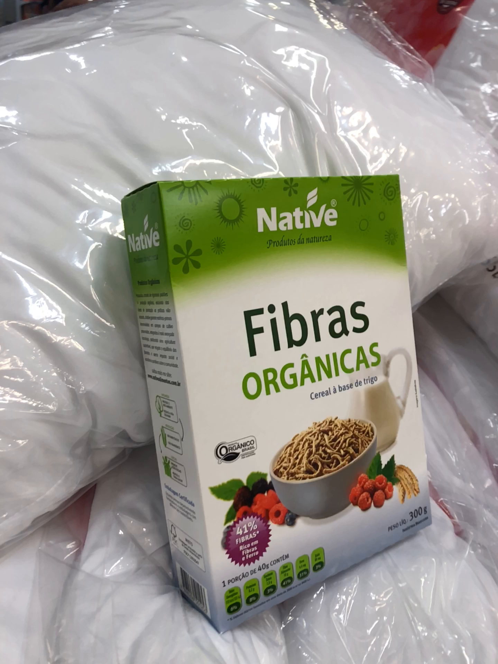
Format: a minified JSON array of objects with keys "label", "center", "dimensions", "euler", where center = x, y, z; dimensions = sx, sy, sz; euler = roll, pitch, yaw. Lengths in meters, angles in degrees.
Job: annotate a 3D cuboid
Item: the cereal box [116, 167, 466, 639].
[{"label":"cereal box","center":[0.037,0.024,0.338],"dimensions":[0.191,0.230,0.060],"euler":[-11,8,-30]}]
